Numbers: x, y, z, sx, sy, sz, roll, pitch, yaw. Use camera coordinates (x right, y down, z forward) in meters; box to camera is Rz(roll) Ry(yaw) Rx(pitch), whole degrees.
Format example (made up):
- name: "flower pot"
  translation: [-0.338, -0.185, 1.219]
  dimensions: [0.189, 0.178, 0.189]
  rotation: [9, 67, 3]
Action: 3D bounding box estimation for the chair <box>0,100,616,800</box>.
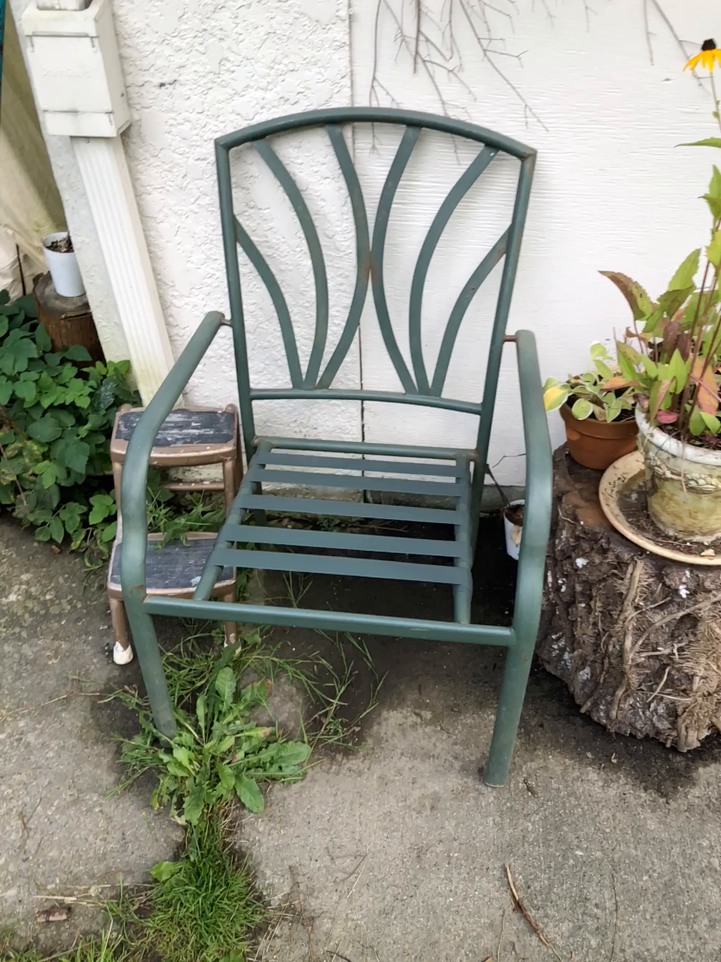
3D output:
- name: "chair"
  translation: [-0.018, -0.060, 1.310]
  dimensions: [0.620, 0.904, 0.685]
  rotation: [3, 39, 6]
